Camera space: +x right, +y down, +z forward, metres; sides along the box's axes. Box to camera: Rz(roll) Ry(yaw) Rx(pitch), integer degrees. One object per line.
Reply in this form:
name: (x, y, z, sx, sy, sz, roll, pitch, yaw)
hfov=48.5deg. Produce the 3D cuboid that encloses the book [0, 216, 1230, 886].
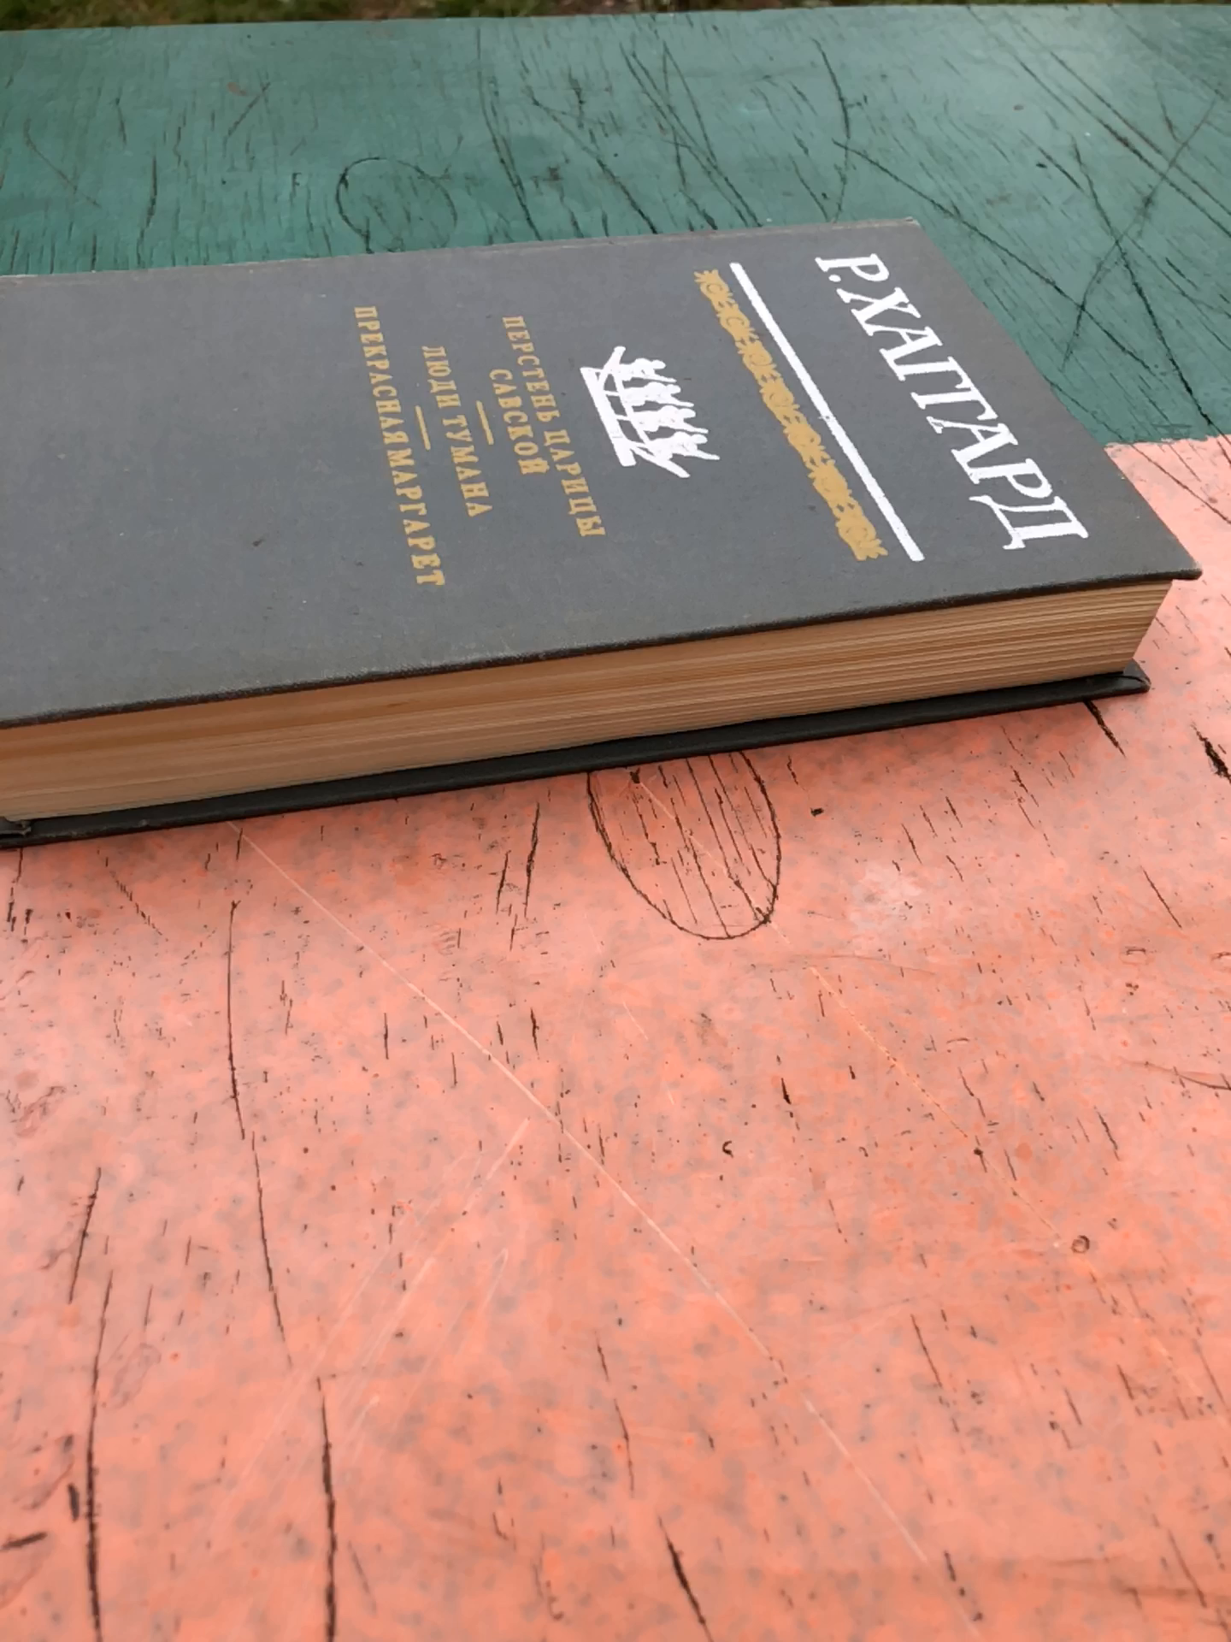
book: (-0.011, -0.070, 0.281, 0.221, 0.030, 0.151, -8, 49, -11)
